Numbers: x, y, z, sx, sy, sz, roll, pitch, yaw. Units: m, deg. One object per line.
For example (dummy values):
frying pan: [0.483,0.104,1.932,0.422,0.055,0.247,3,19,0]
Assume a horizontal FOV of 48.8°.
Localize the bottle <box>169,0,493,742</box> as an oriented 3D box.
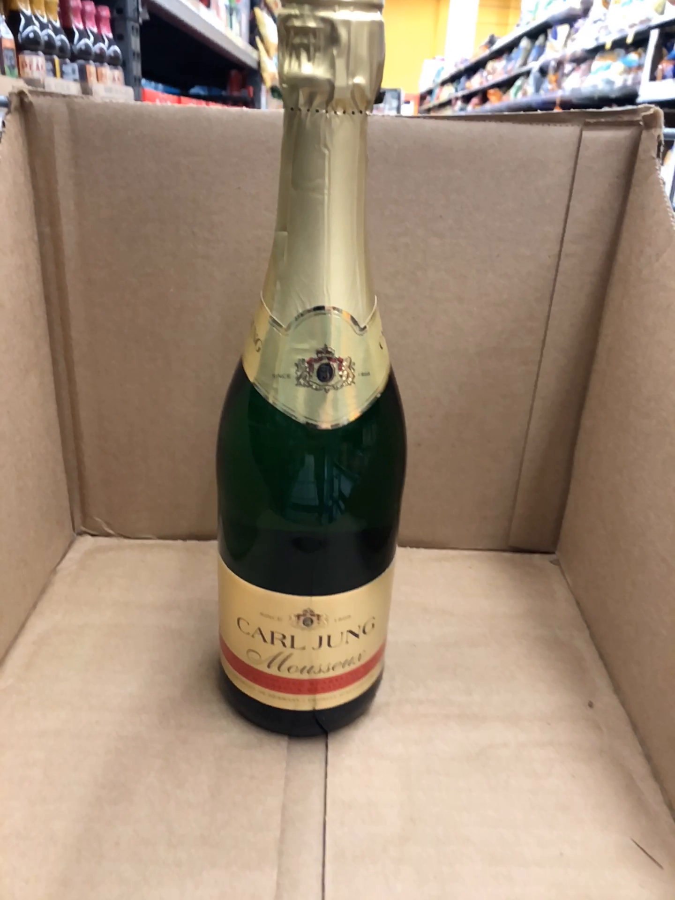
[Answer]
bottle: [-0.010,-0.026,0.298,0.090,0.288,0.081,2,22,-3]
